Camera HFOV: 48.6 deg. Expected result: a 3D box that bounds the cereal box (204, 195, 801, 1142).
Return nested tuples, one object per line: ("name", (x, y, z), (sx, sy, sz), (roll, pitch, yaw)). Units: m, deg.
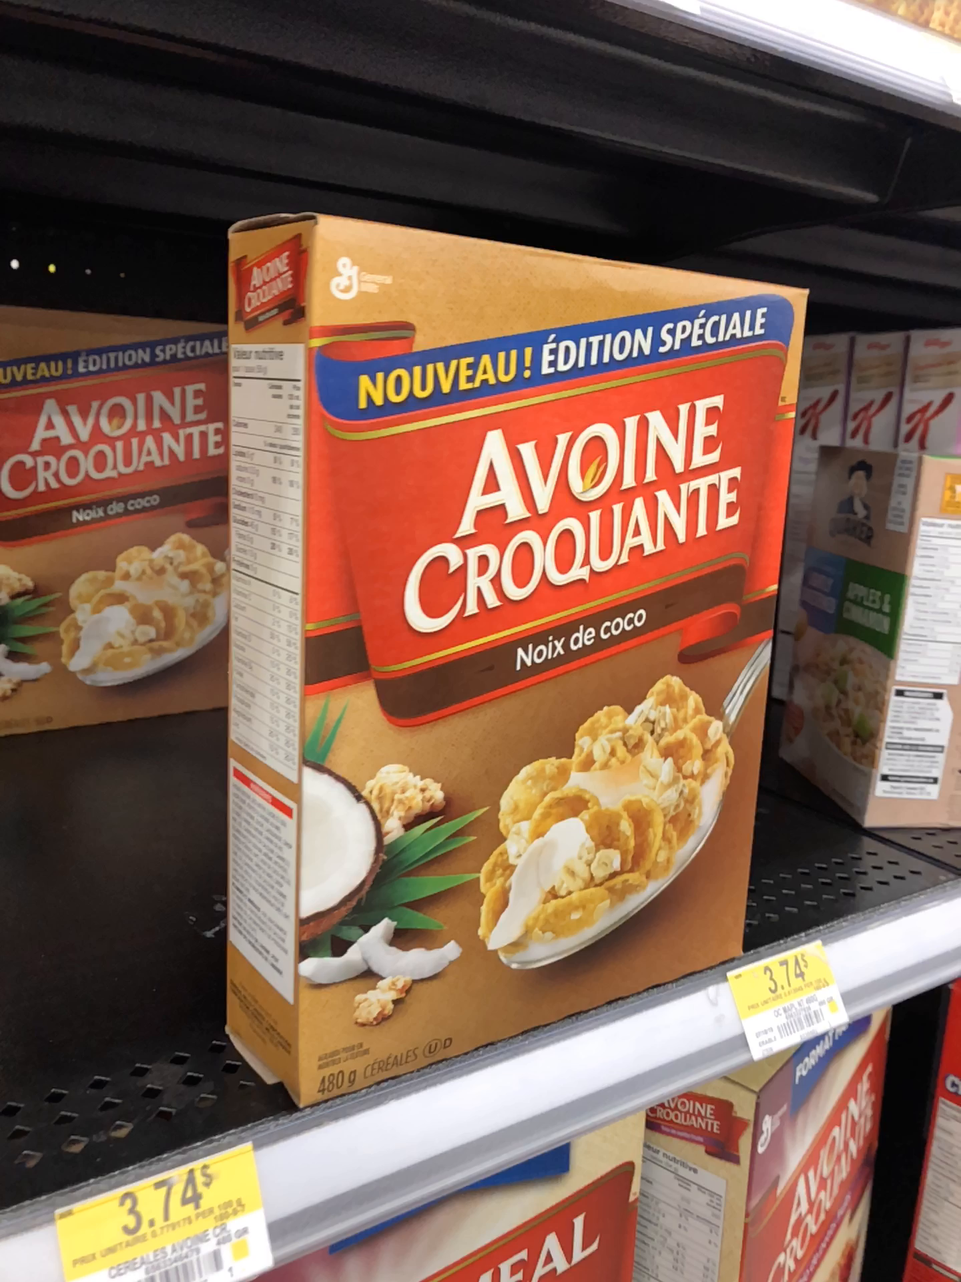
("cereal box", (0.010, 0.006, 0.370), (0.200, 0.269, 0.050), (-5, 14, -34))
